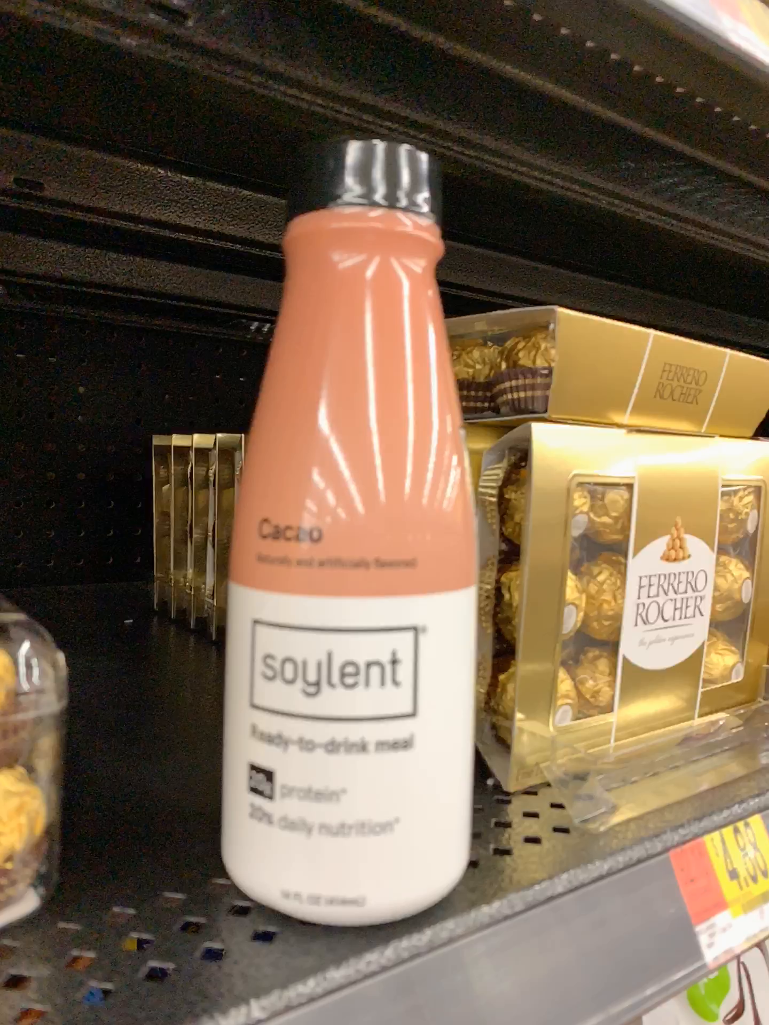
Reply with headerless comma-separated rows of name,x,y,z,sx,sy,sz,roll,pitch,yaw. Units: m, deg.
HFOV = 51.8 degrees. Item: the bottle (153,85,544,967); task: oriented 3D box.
bottle,-0.005,0.001,0.212,0.080,0.190,0.070,4,4,12
